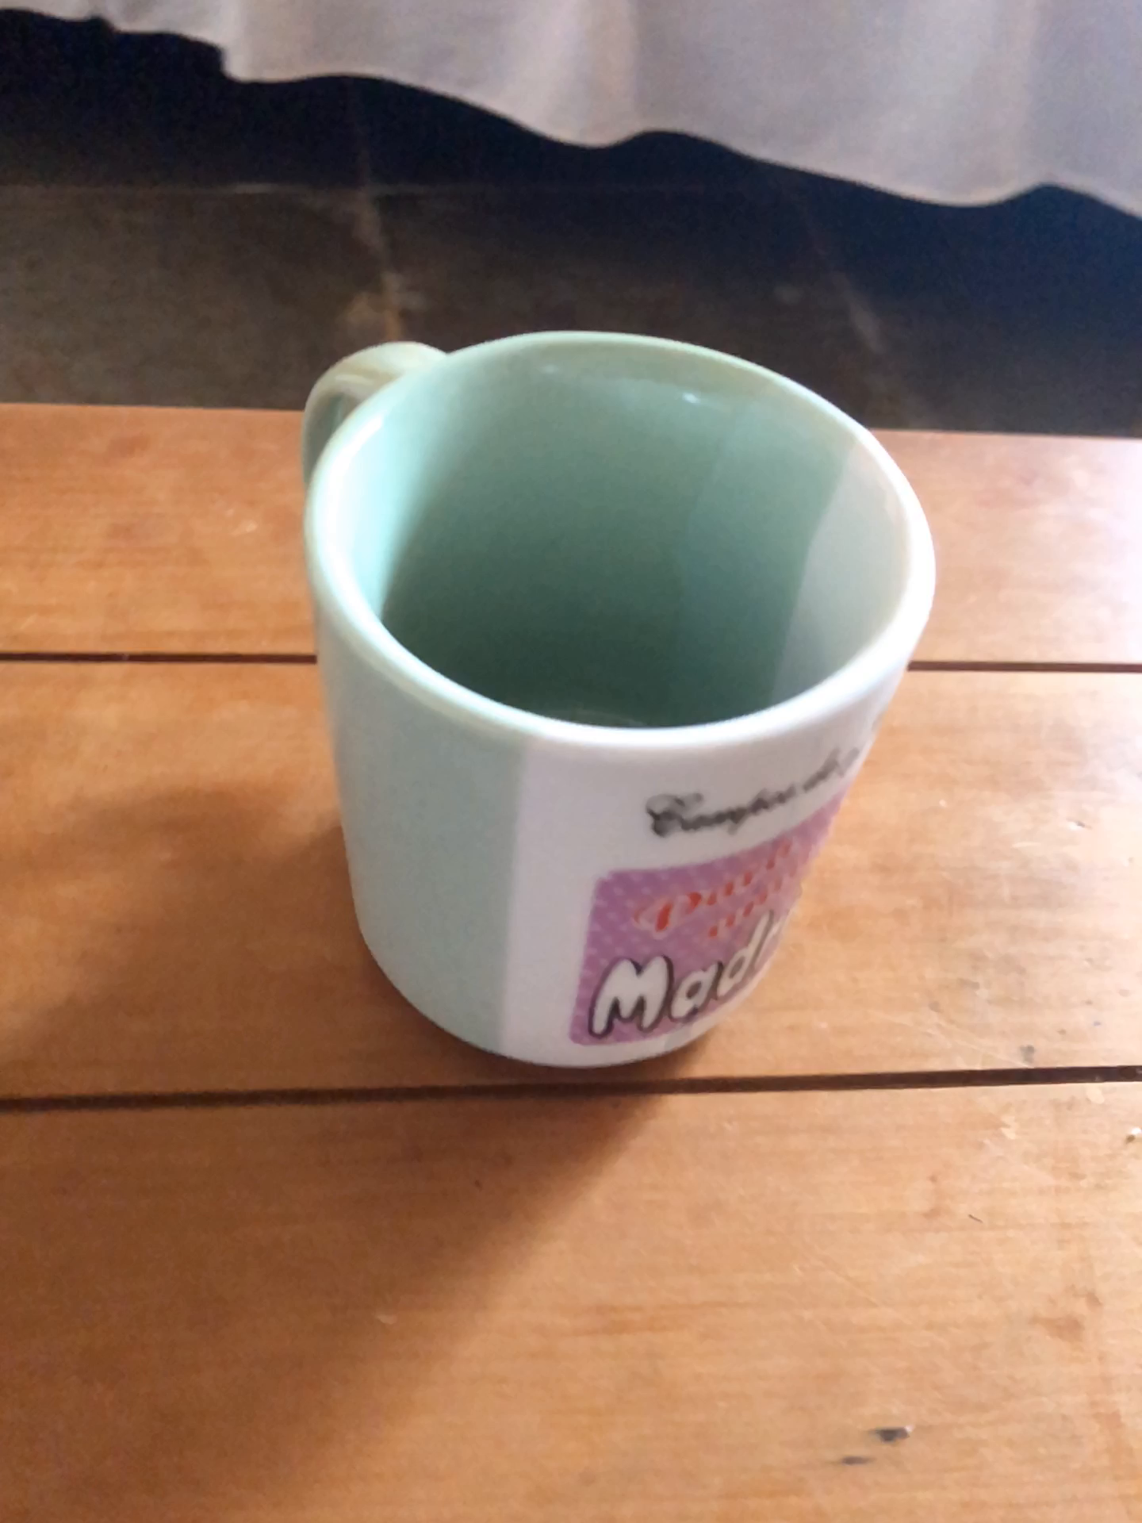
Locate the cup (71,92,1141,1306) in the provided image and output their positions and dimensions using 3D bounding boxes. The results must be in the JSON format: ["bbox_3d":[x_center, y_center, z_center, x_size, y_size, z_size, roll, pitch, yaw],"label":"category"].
[{"bbox_3d":[0.005,-0.015,0.183,0.080,0.089,0.130,-29,59,-27],"label":"cup"}]
